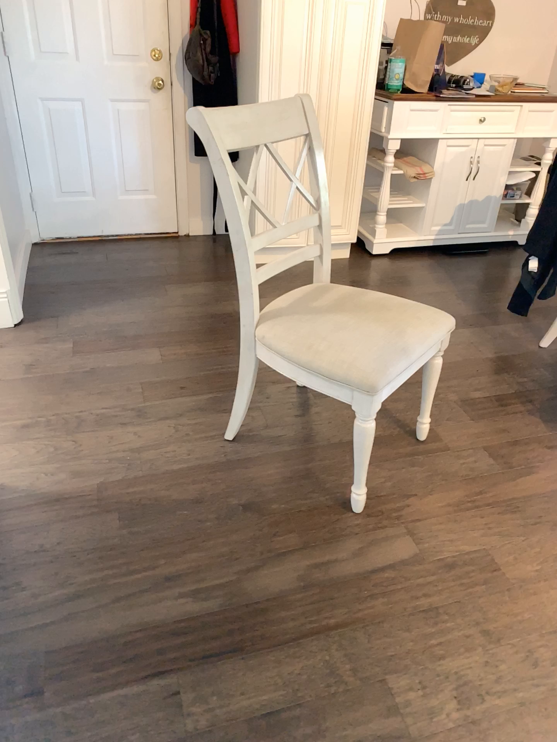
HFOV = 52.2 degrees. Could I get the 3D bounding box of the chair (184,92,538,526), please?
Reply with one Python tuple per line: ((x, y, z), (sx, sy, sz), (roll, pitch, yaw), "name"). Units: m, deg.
((0.175, -0.213, 1.578), (0.652, 0.924, 0.532), (25, 37, 31), "chair")
